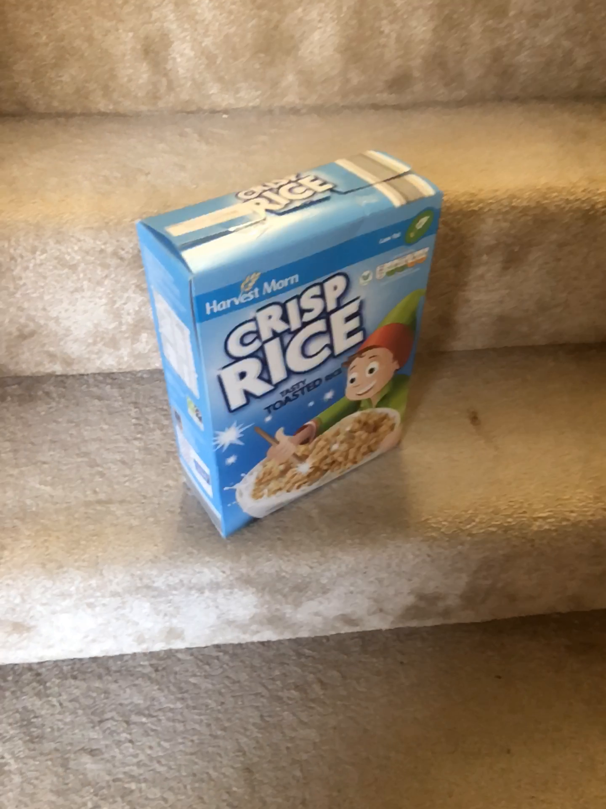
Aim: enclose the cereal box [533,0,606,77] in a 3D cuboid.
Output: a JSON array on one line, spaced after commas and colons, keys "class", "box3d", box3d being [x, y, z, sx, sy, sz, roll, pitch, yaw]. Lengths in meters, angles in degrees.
[{"class": "cereal box", "box3d": [1.895, -2.584, 3.902, 0.760, 0.993, 0.795, 5, 44, 5]}]
